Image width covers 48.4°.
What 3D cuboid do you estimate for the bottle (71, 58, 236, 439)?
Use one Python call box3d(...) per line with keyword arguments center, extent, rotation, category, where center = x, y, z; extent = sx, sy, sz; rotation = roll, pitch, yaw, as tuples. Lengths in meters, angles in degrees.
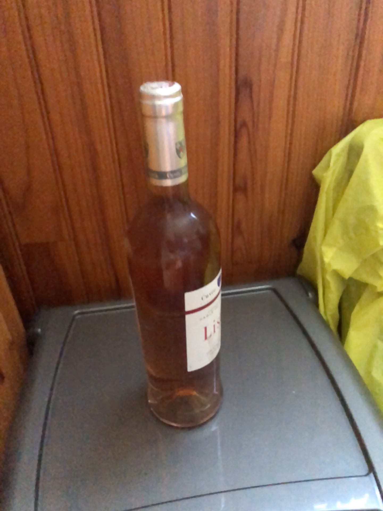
box3d(center=(-0.014, 0.015, 0.359), extent=(0.080, 0.318, 0.081), rotation=(-2, 34, 1), category="bottle")
